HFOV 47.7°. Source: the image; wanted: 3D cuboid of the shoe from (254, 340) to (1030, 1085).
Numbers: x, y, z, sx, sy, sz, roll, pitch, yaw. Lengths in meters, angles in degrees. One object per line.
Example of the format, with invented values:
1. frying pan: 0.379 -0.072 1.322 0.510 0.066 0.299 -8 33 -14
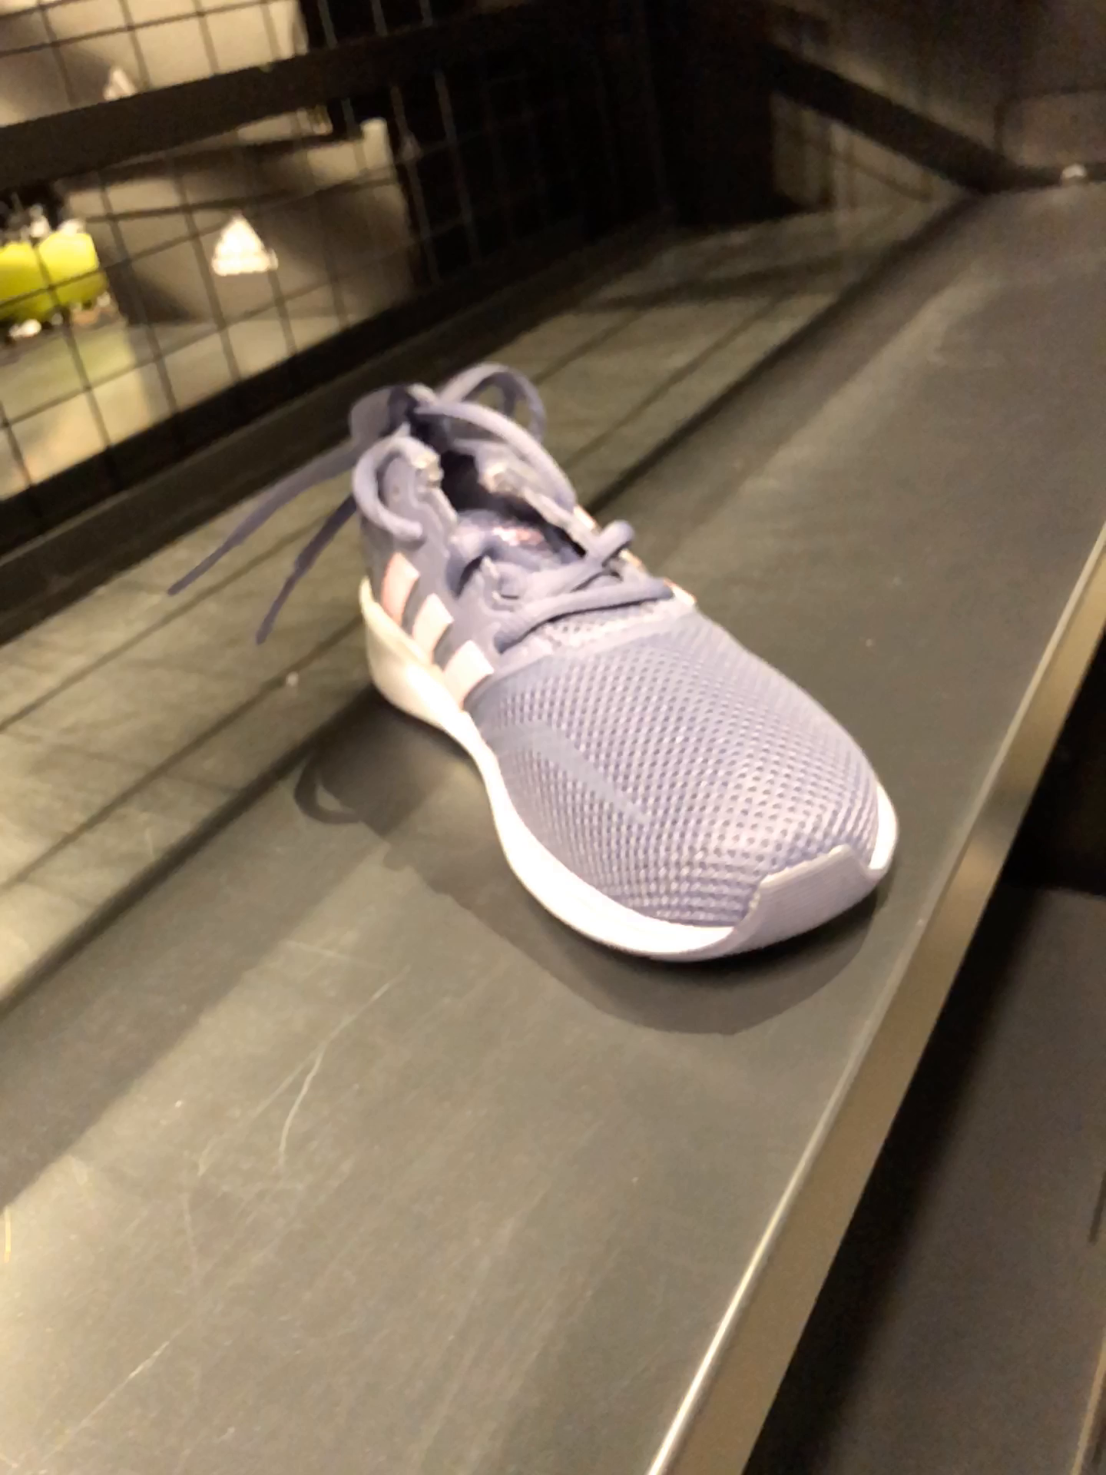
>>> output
1. shoe: 0.006 -0.030 0.324 0.090 0.090 0.221 -23 32 -17
